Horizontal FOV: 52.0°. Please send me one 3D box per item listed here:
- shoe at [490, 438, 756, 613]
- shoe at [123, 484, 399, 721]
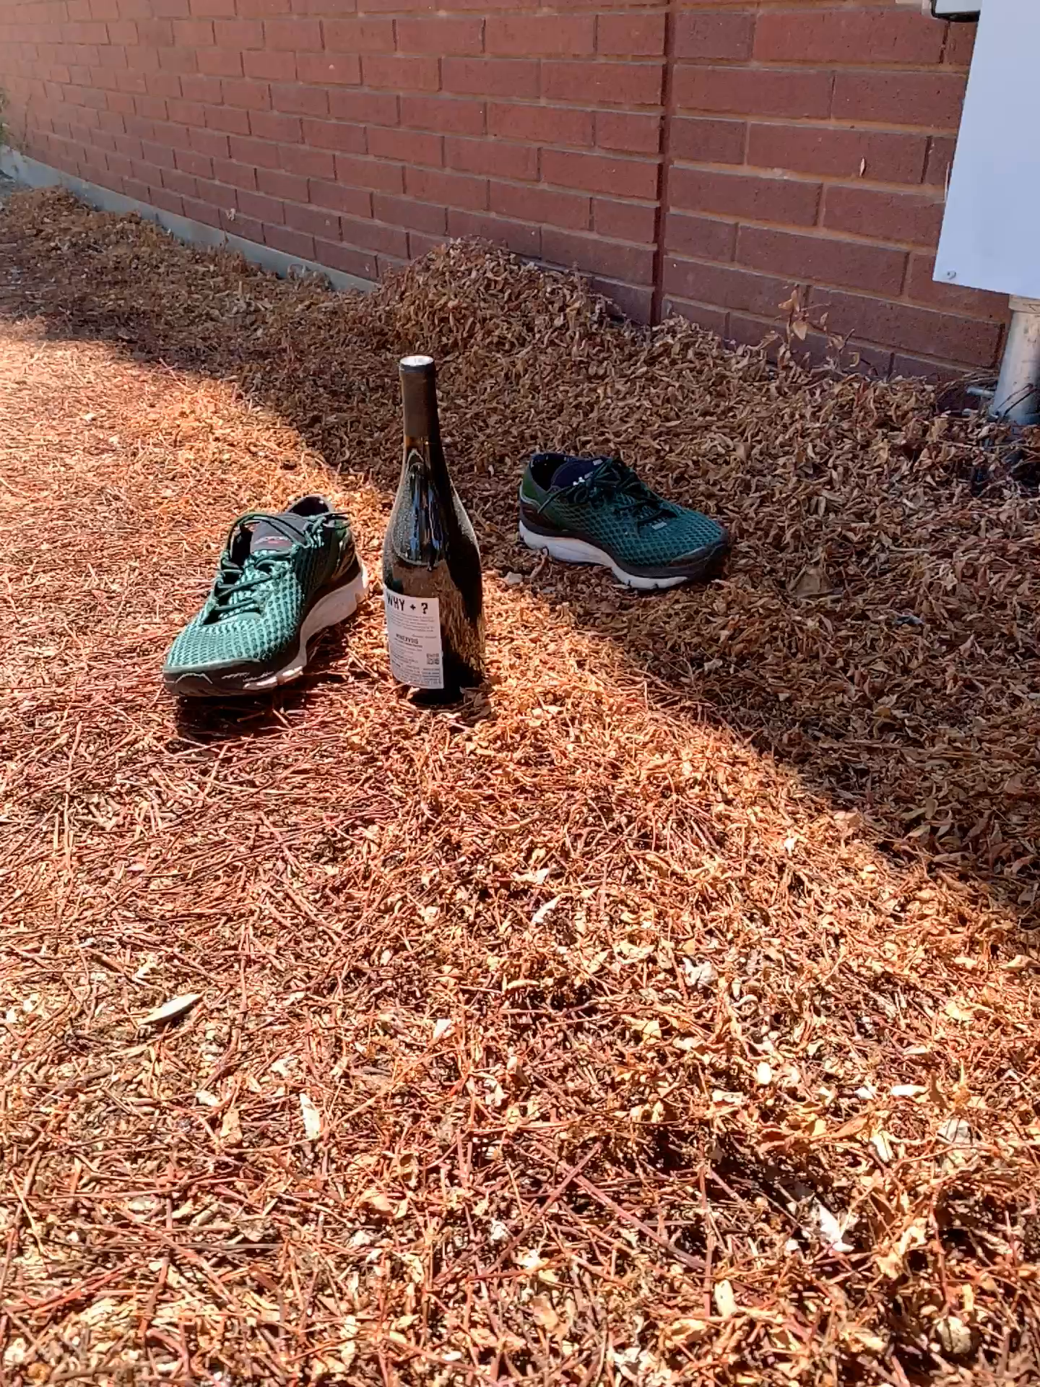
[{"bbox_3d":[0.108,-0.196,1.193,0.271,0.089,0.130,27,41,37],"label":"shoe"},{"bbox_3d":[-0.231,-0.100,1.024,0.140,0.089,0.302,6,33,10],"label":"shoe"}]
